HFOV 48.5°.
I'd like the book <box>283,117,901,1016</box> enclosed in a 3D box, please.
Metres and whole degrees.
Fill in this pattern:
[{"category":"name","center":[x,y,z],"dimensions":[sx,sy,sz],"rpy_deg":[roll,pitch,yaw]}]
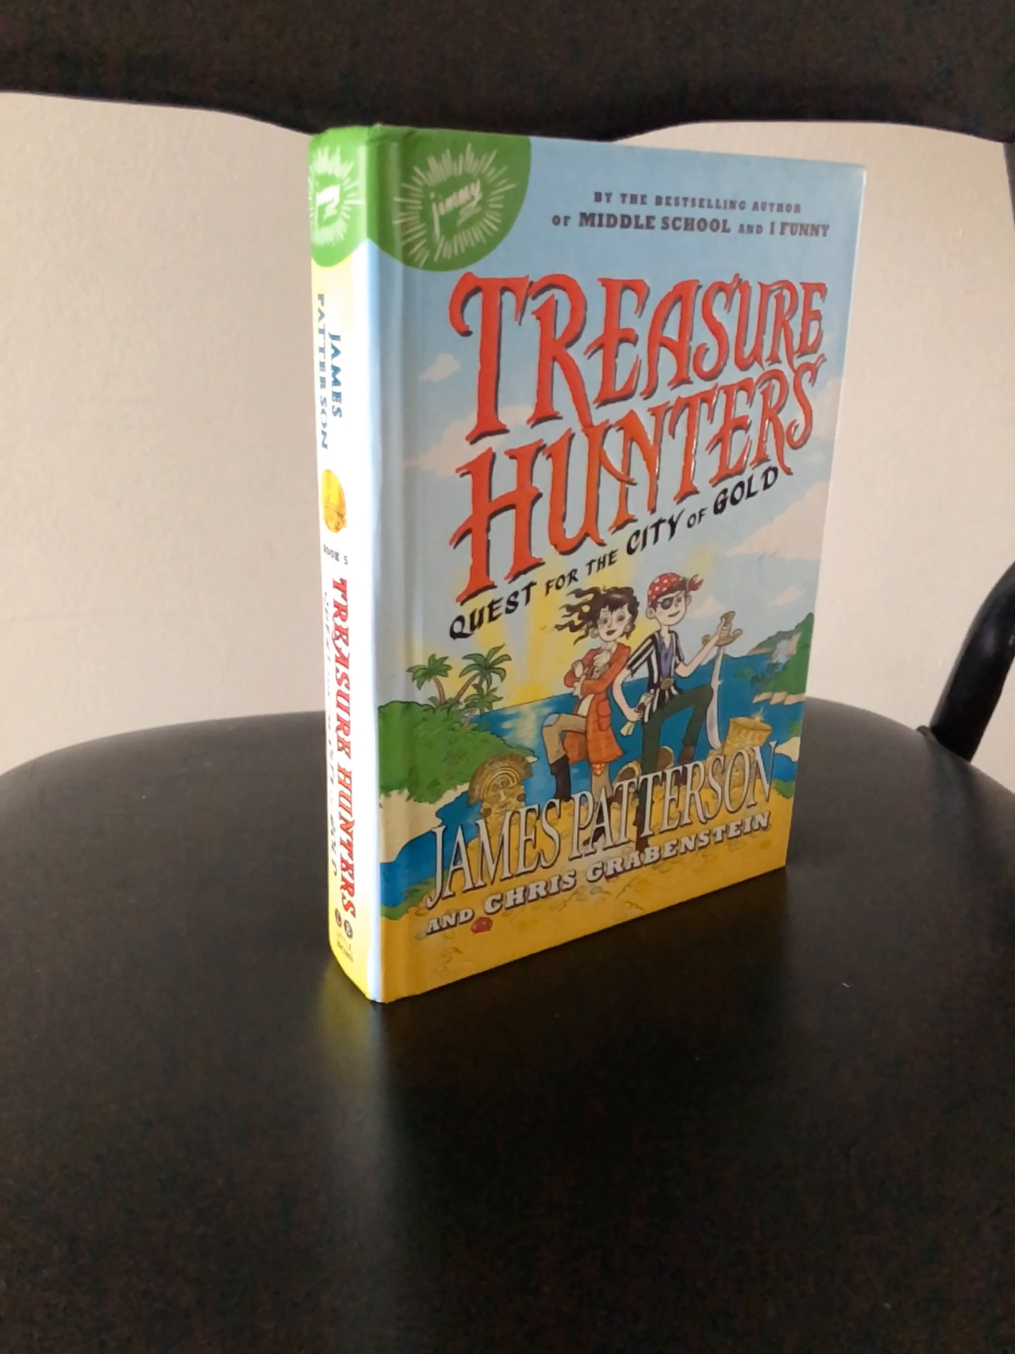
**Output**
[{"category":"book","center":[0.023,-0.030,0.313],"dimensions":[0.155,0.215,0.040],"rpy_deg":[-11,26,-29]}]
